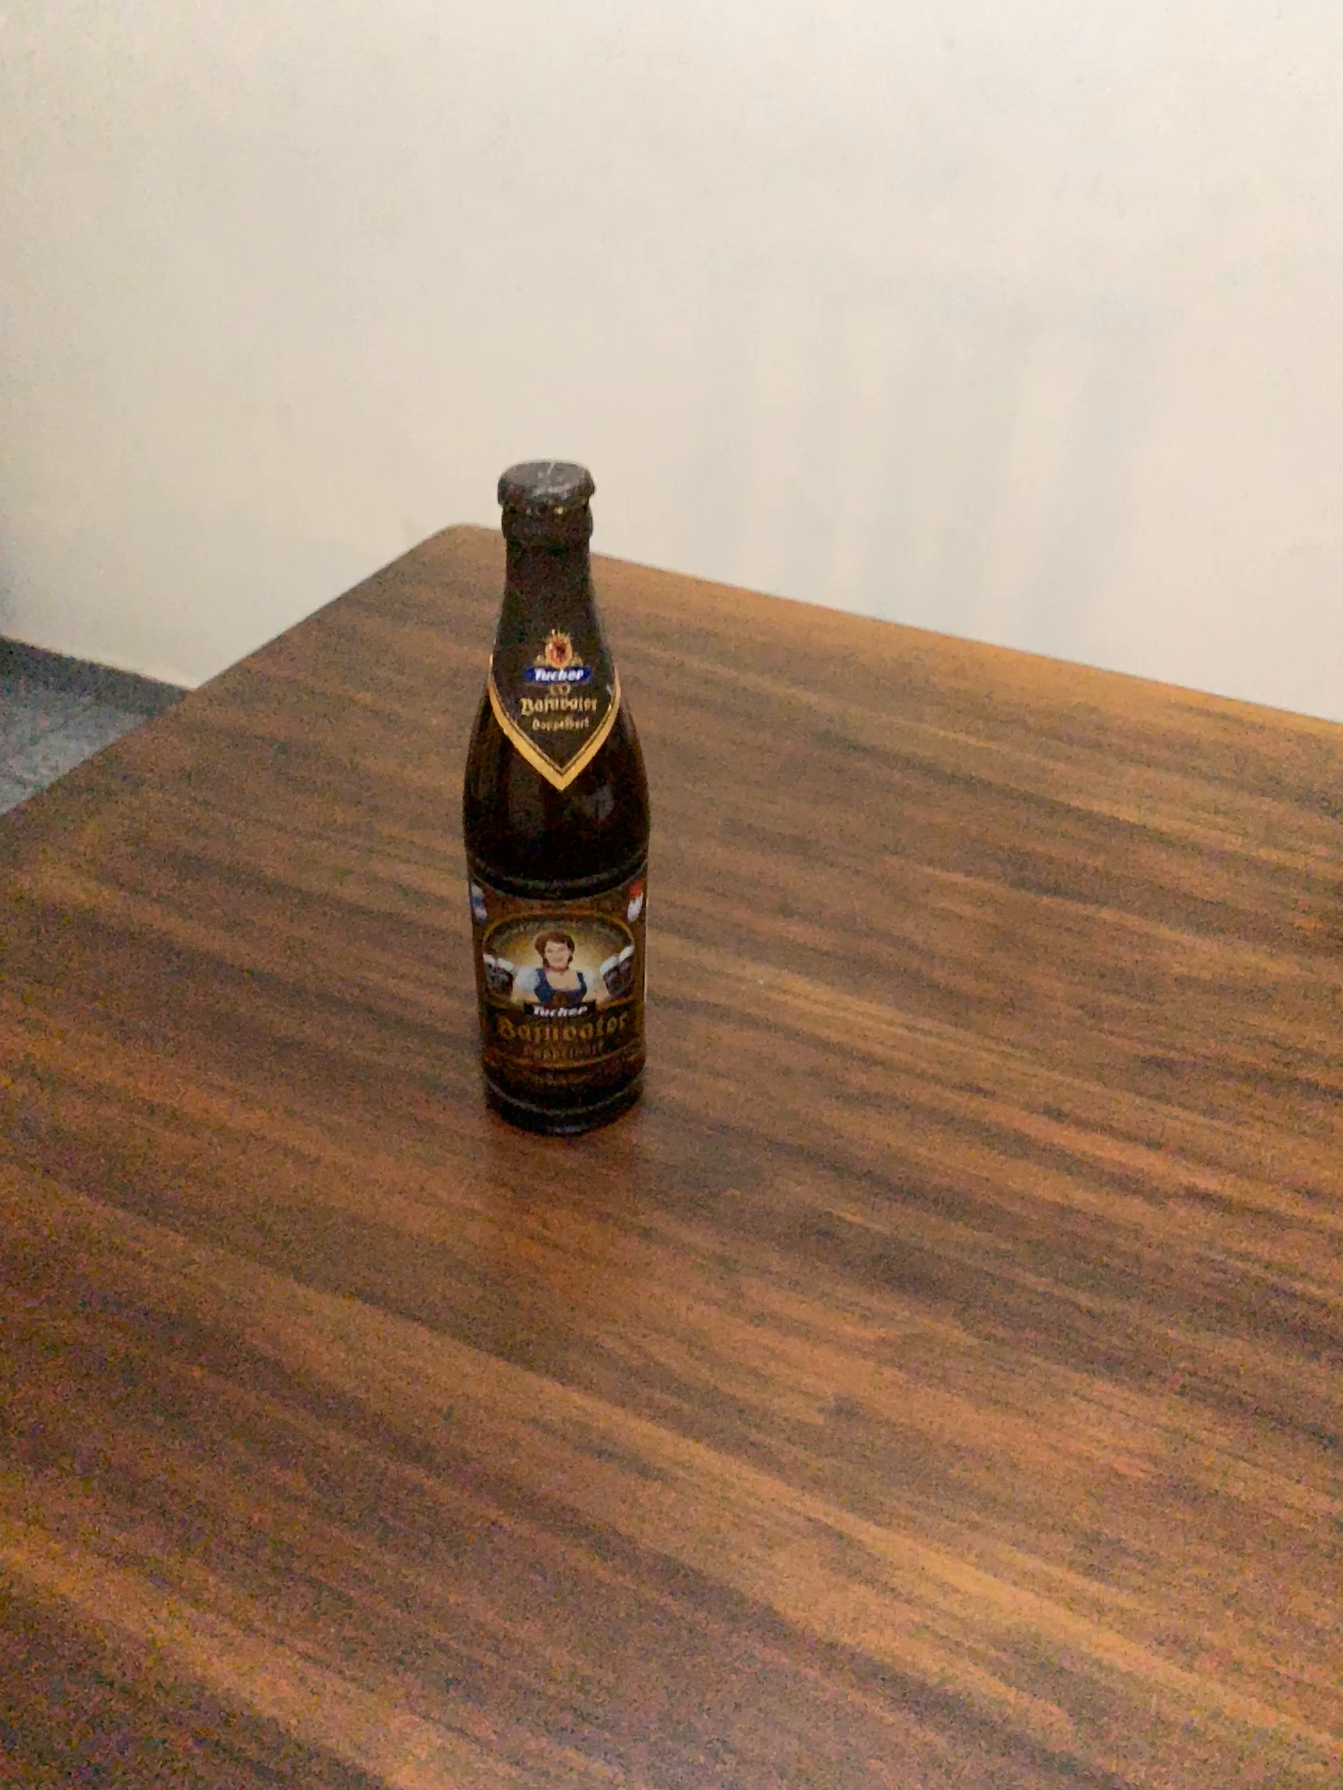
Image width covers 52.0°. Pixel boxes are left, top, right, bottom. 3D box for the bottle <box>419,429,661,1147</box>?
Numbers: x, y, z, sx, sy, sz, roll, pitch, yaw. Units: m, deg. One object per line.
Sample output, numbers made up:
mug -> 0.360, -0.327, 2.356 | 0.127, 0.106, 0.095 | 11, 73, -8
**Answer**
bottle -> -0.044, -0.025, 0.503 | 0.070, 0.268, 0.060 | -3, 37, -6
